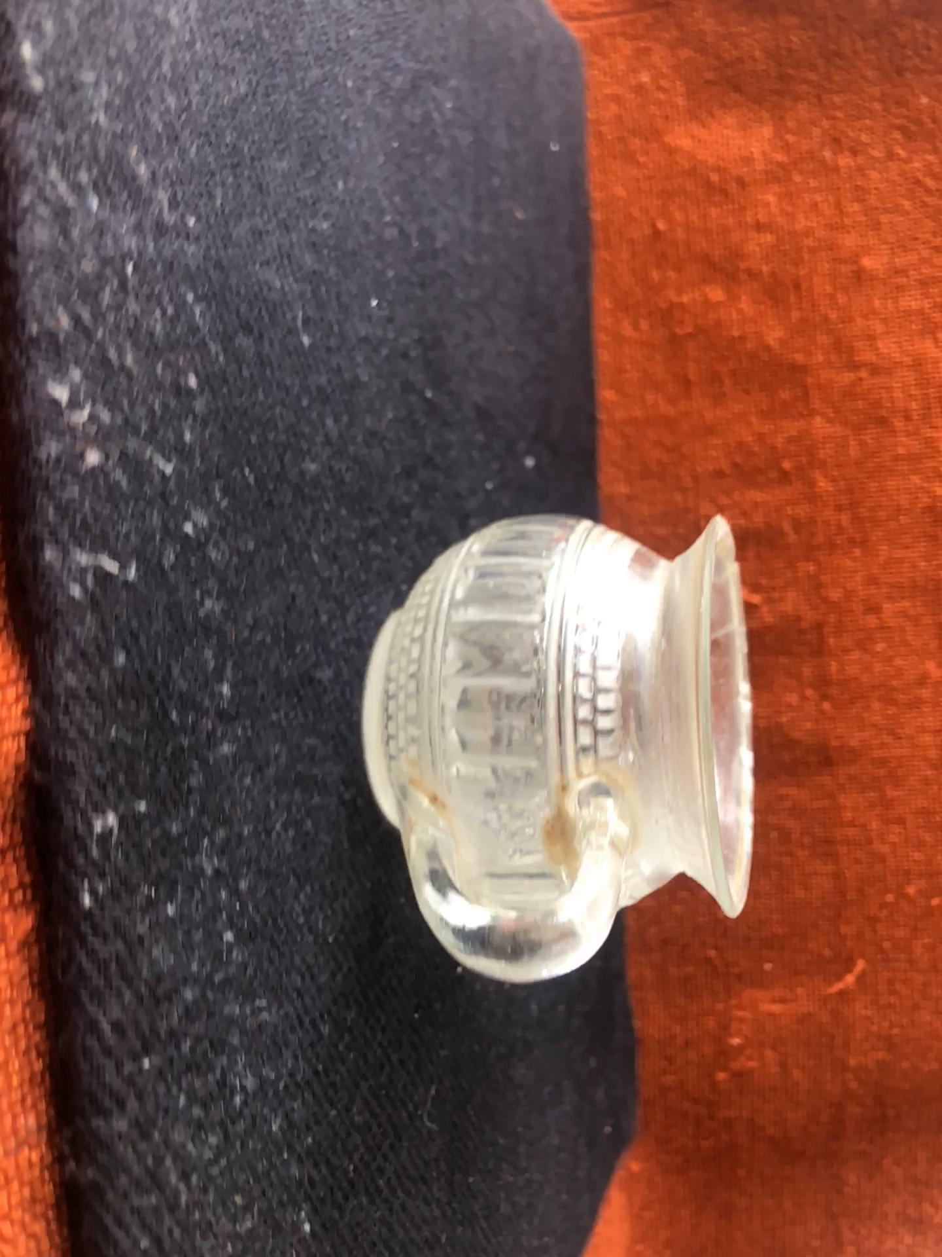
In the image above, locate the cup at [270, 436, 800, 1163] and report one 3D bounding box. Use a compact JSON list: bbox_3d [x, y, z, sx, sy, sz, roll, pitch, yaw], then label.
[{"bbox_3d":[0.021,0.027,0.179,0.070,0.060,0.090,68,27,-44],"label":"cup"}]
